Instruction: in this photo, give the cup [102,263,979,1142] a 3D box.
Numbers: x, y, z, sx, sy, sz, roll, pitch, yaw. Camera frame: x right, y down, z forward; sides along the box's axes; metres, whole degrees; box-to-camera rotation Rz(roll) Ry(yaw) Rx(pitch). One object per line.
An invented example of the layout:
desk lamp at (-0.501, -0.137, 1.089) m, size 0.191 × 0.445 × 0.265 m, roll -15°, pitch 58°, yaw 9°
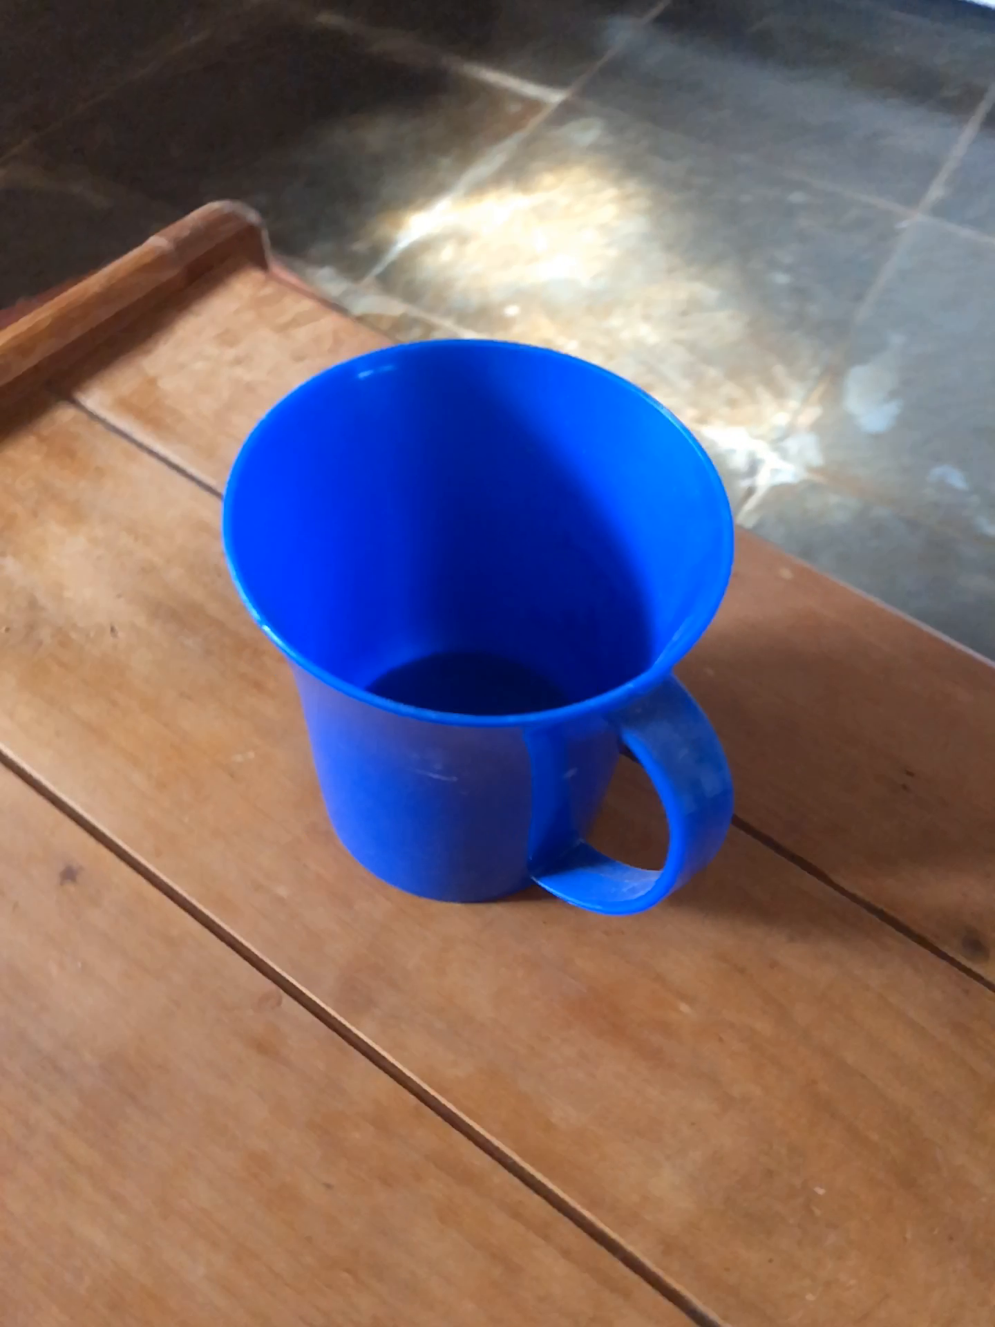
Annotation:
cup at (0.003, 0.006, 0.234) m, size 0.100 × 0.099 × 0.120 m, roll -32°, pitch 62°, yaw -22°
